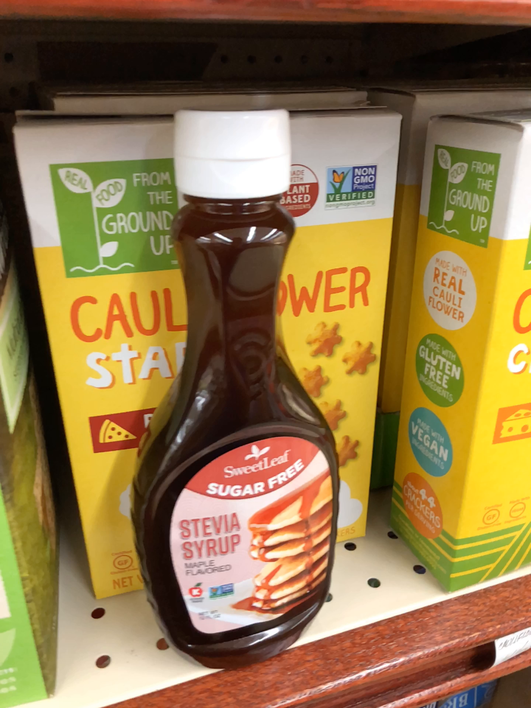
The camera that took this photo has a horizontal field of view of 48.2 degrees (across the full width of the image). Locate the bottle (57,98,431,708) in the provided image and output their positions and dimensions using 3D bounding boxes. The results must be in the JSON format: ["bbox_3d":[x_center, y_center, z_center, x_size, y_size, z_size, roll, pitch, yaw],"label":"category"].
[{"bbox_3d":[-0.008,0.025,0.213,0.092,0.211,0.051,-11,29,-22],"label":"bottle"}]
